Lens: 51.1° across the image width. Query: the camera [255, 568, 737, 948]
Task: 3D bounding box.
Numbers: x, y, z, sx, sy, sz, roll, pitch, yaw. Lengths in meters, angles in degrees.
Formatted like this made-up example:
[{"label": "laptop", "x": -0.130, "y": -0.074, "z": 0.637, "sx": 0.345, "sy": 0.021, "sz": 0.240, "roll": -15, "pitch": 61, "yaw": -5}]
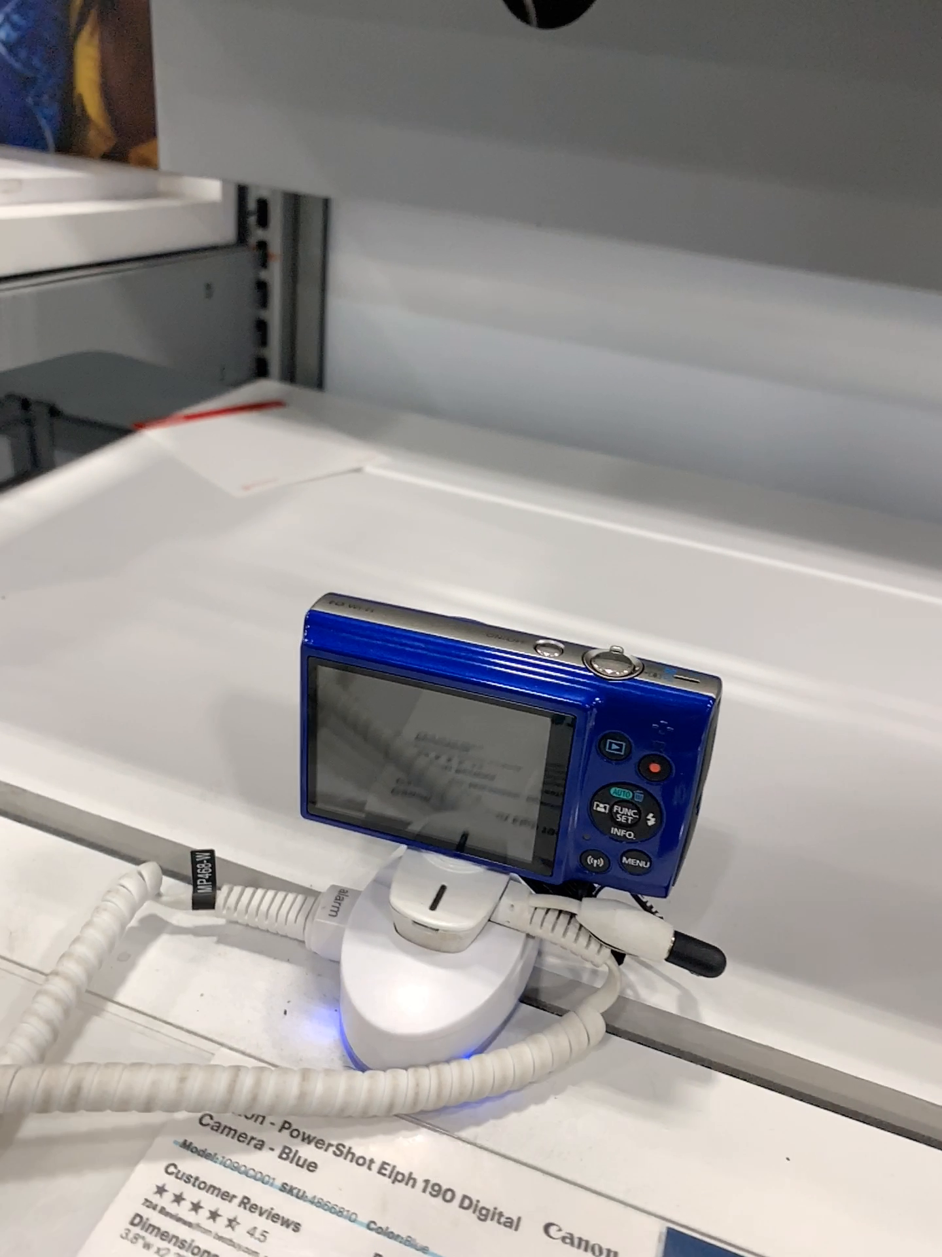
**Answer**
[{"label": "camera", "x": 0.003, "y": 0.029, "z": 0.226, "sx": 0.100, "sy": 0.060, "sz": 0.027, "roll": 13, "pitch": 33, "yaw": 9}]
